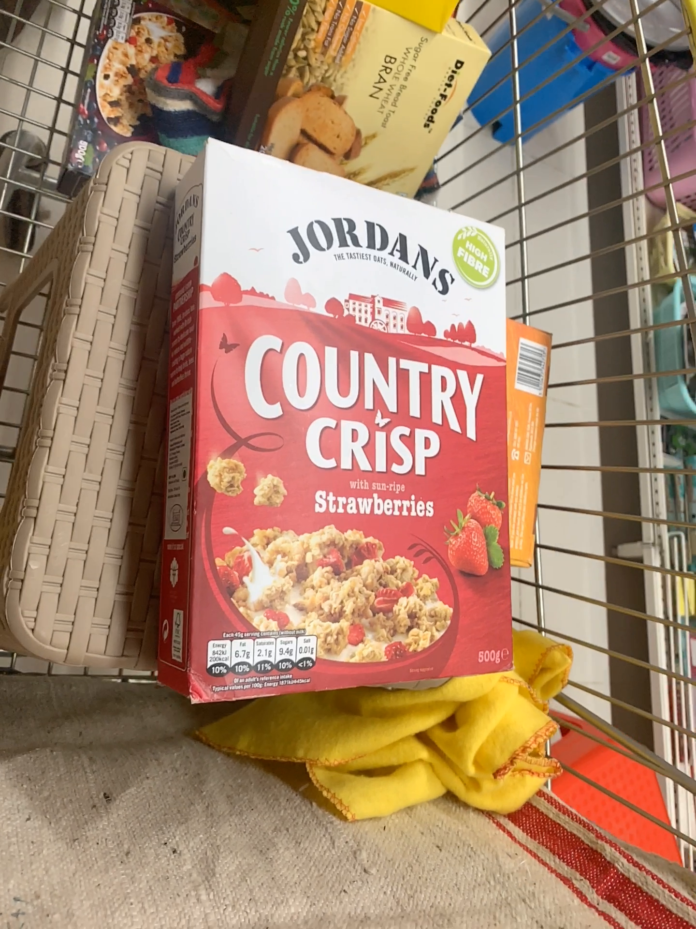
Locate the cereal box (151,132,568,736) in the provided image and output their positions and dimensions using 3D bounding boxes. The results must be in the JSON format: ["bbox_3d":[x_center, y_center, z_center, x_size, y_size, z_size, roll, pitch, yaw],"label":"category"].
[{"bbox_3d":[0.009,-0.008,0.344,0.180,0.070,0.230,4,81,-30],"label":"cereal box"}]
